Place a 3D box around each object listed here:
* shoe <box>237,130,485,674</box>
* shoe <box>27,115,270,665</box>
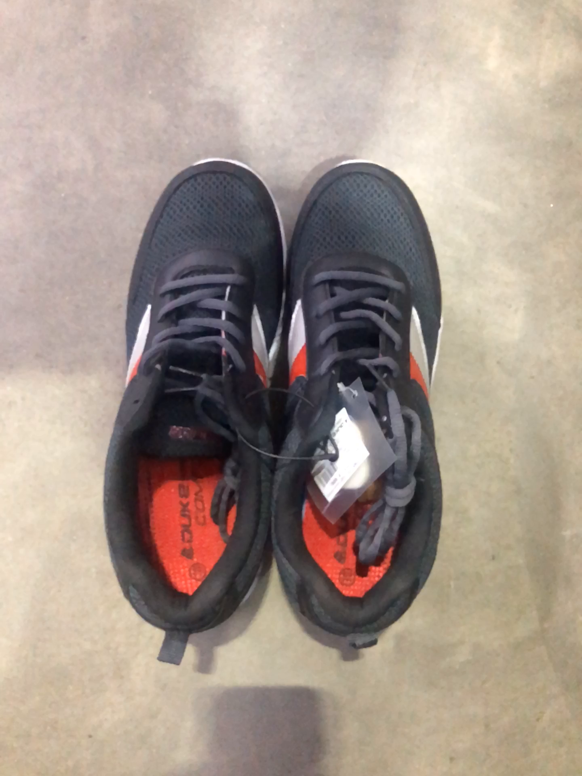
[{"bbox_3d":[0.037,0.006,0.380,0.110,0.100,0.270,4,85,0],"label":"shoe"},{"bbox_3d":[-0.069,0.000,0.369,0.110,0.100,0.270,0,85,0],"label":"shoe"}]
